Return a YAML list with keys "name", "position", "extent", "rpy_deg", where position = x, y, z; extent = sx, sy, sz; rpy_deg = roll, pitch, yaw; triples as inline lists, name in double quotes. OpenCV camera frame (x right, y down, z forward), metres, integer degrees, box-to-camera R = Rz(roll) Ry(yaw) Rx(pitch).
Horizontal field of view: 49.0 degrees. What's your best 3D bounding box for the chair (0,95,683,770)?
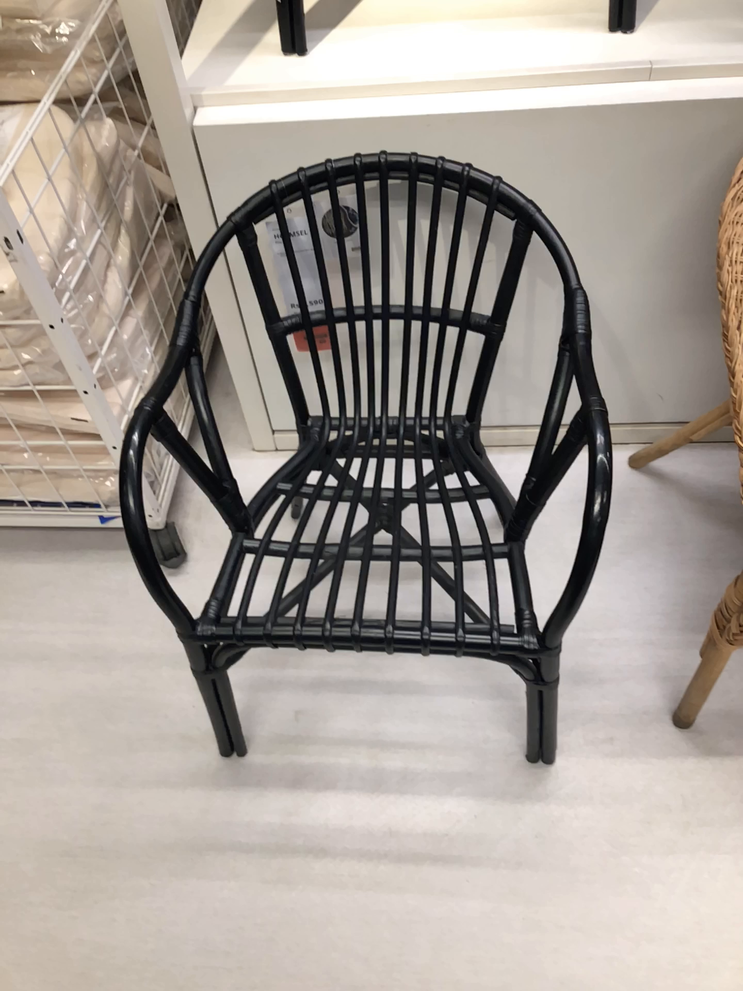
- name: "chair"
  position: [-0.001, -0.016, 1.063]
  extent: [0.550, 0.756, 0.473]
  rpy_deg: [0, 53, 6]
